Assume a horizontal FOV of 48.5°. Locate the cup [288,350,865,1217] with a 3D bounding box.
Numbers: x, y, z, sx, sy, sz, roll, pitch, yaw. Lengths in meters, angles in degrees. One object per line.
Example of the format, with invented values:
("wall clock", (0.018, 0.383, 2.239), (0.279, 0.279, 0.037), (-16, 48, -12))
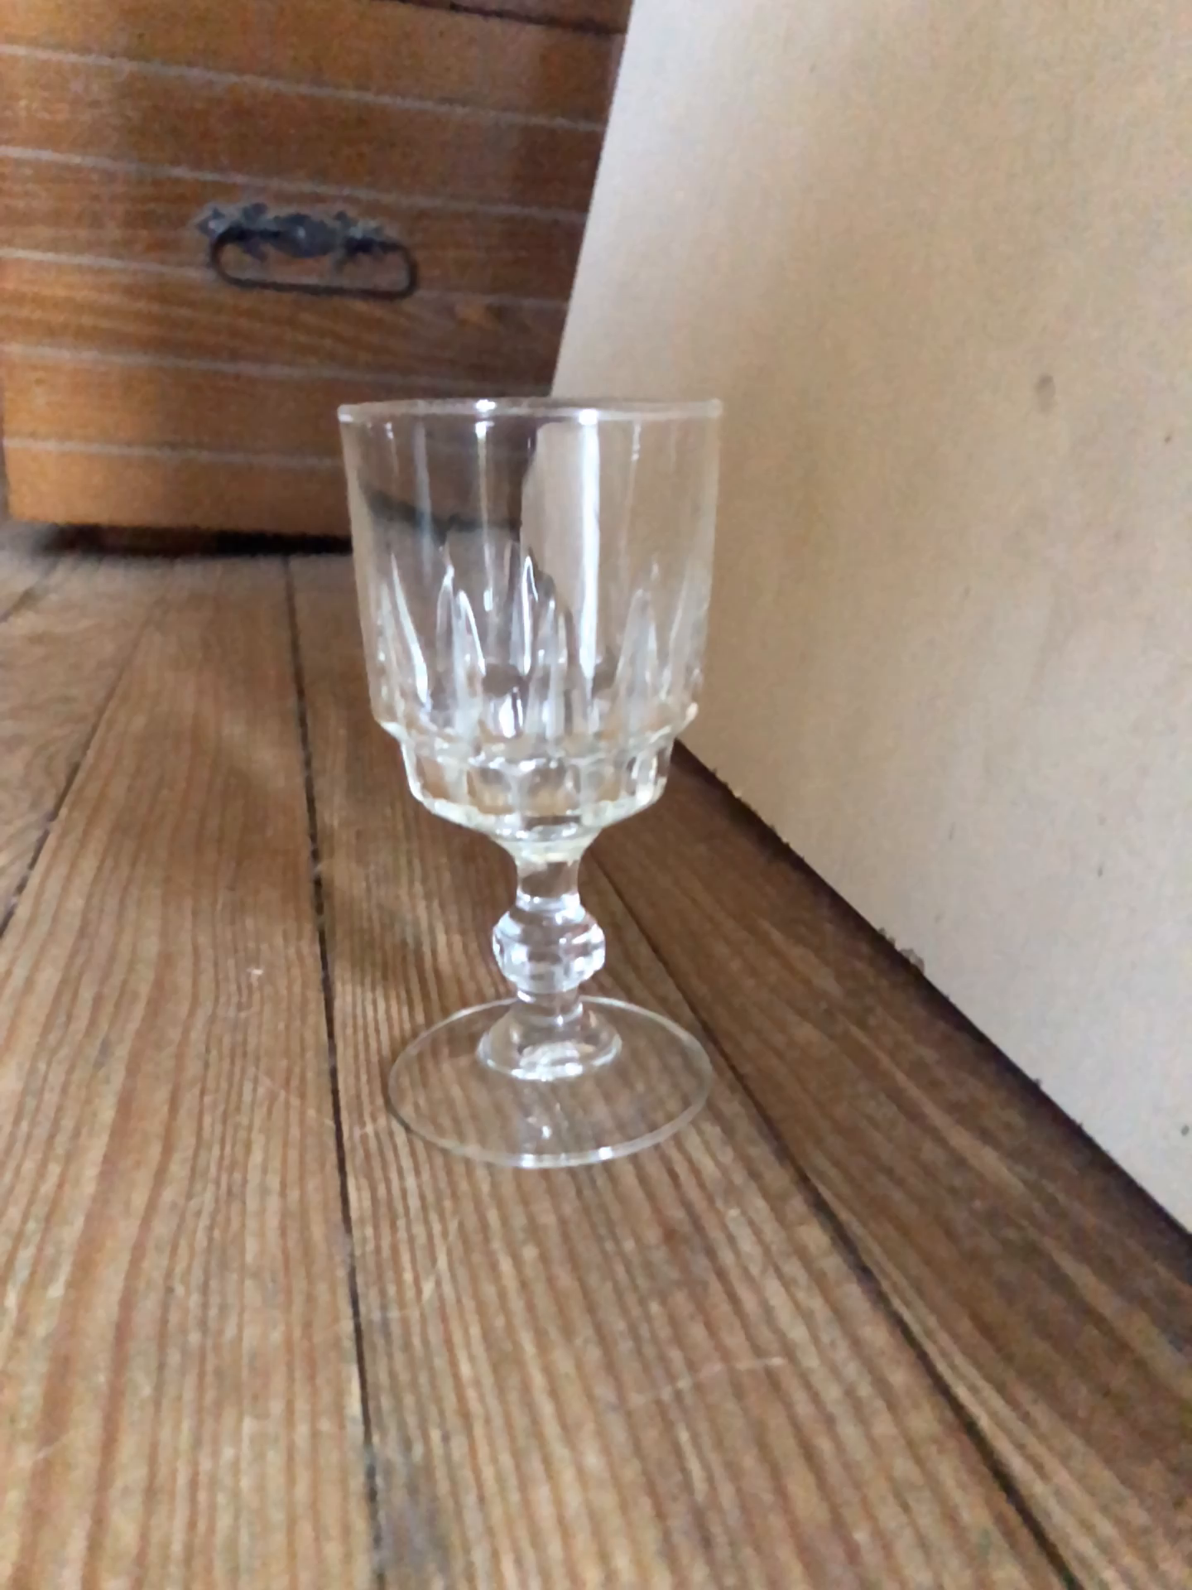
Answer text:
("cup", (-0.007, -0.009, 0.217), (0.070, 0.119, 0.070), (-1, 18, 0))
